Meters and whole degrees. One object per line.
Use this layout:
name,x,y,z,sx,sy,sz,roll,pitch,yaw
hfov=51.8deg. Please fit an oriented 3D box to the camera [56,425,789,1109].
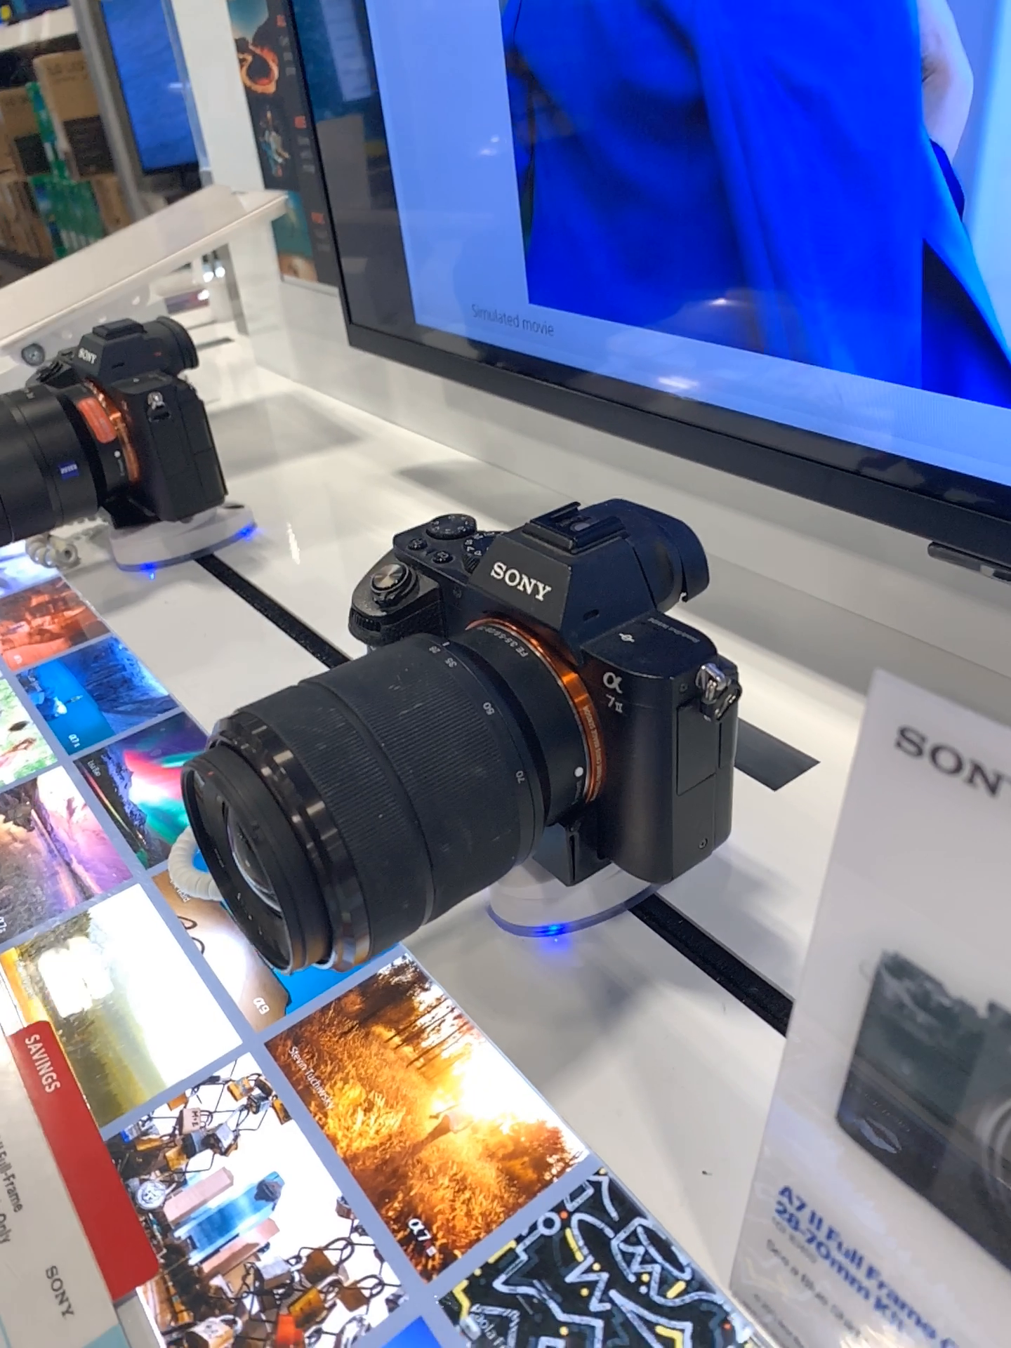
camera,-0.021,0.008,0.290,0.142,0.090,0.131,-26,36,-27
